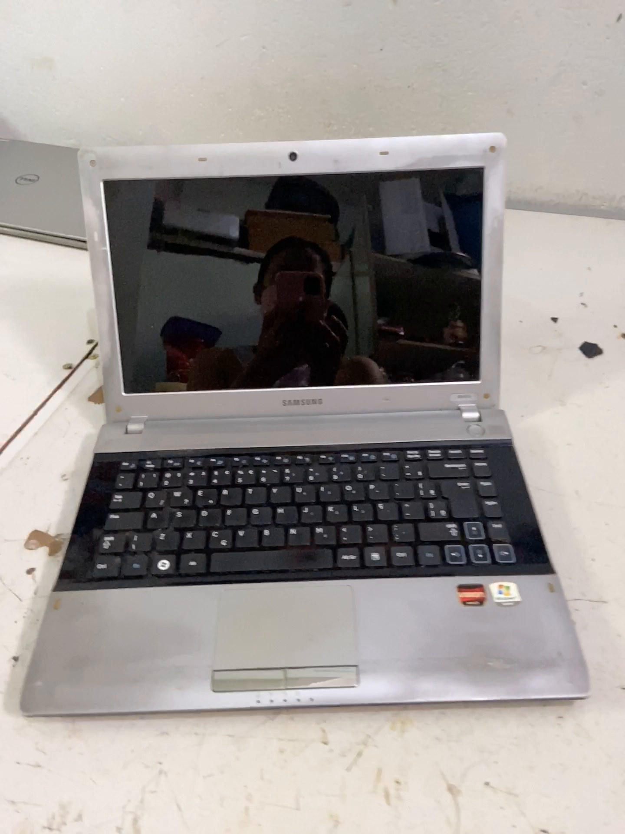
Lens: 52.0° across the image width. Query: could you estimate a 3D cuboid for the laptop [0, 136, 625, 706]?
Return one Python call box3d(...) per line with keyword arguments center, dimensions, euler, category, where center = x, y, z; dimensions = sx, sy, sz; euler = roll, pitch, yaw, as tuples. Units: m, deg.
box3d(center=(-0.011, -0.026, 0.446), dimensions=(0.342, 0.180, 0.368), euler=(-2, 45, 1), category="laptop")
